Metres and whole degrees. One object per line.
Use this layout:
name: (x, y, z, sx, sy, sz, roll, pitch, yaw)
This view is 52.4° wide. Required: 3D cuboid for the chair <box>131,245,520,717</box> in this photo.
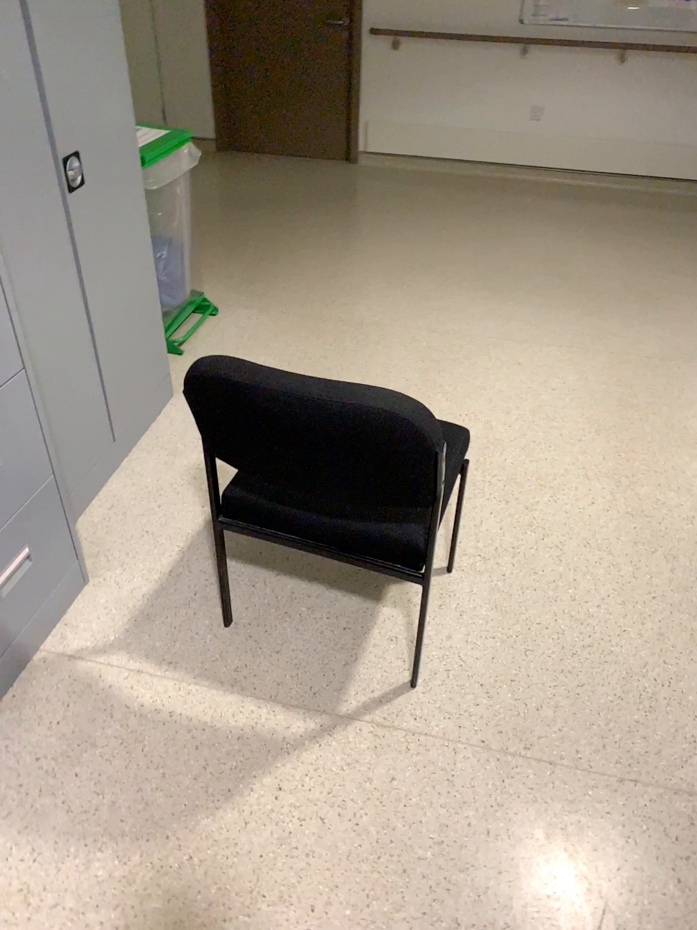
chair: (-0.022, 0.021, 1.718, 0.631, 0.832, 0.585, 14, 39, 15)
